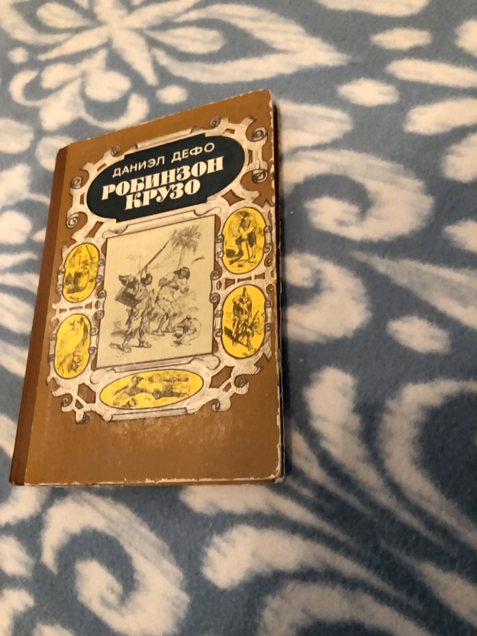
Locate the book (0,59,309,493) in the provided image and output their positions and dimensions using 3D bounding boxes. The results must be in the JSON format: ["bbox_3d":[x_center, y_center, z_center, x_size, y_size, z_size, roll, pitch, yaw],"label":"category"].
[{"bbox_3d":[-0.053,-0.025,0.314,0.178,0.024,0.242,-8,67,21],"label":"book"}]
